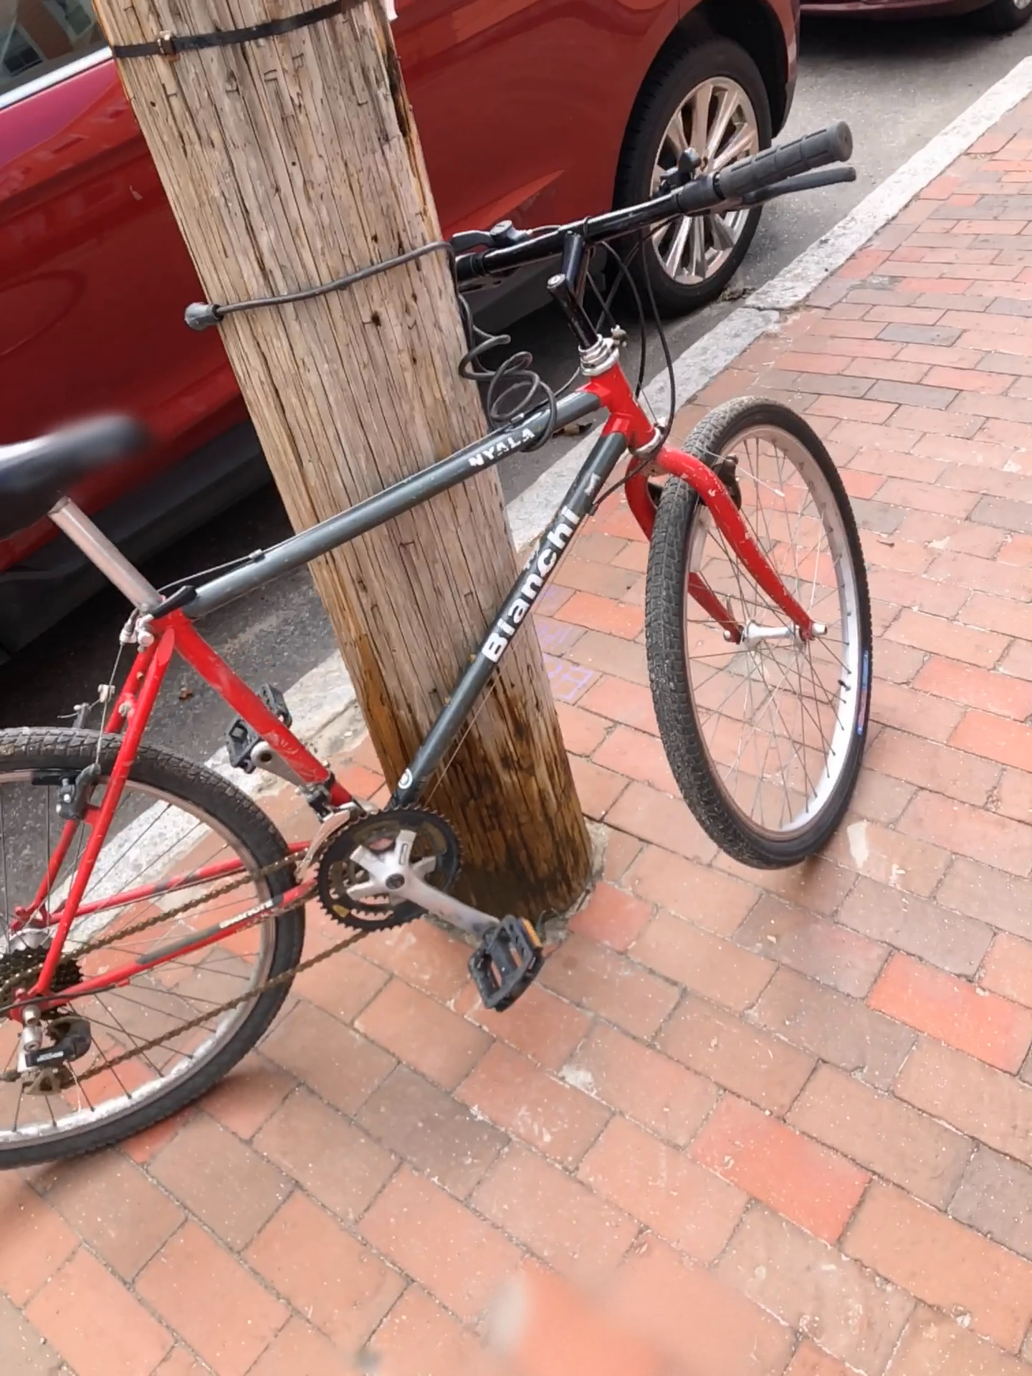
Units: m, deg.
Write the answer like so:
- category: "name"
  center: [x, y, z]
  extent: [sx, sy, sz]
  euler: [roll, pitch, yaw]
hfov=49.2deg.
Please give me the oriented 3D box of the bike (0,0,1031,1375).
- category: "bike"
  center: [-0.213, -0.103, 1.324]
  extent: [1.529, 0.983, 0.582]
  euler: [-29, 42, -17]
